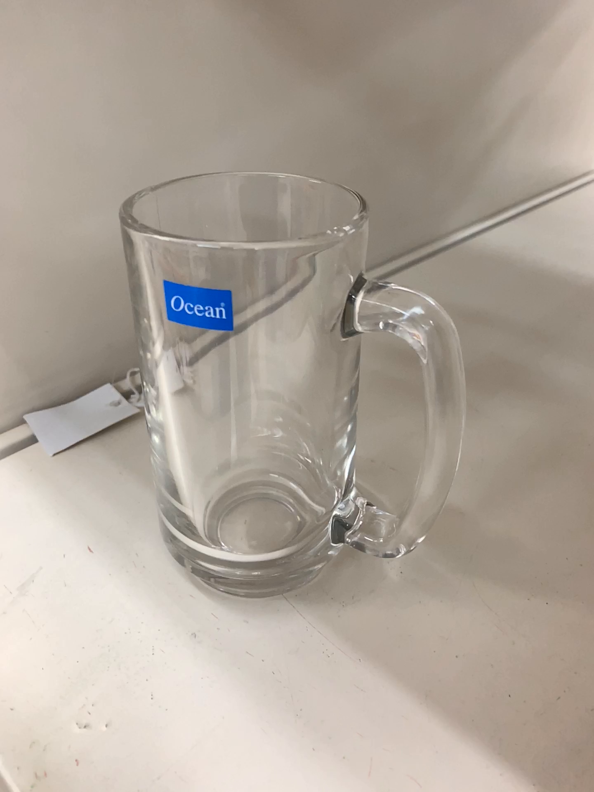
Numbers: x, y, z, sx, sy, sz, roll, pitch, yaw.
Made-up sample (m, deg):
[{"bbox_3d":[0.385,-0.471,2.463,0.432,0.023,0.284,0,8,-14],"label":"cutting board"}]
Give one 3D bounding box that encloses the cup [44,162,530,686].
[{"bbox_3d":[0.000,0.002,0.205,0.111,0.127,0.076,15,36,23],"label":"cup"}]
